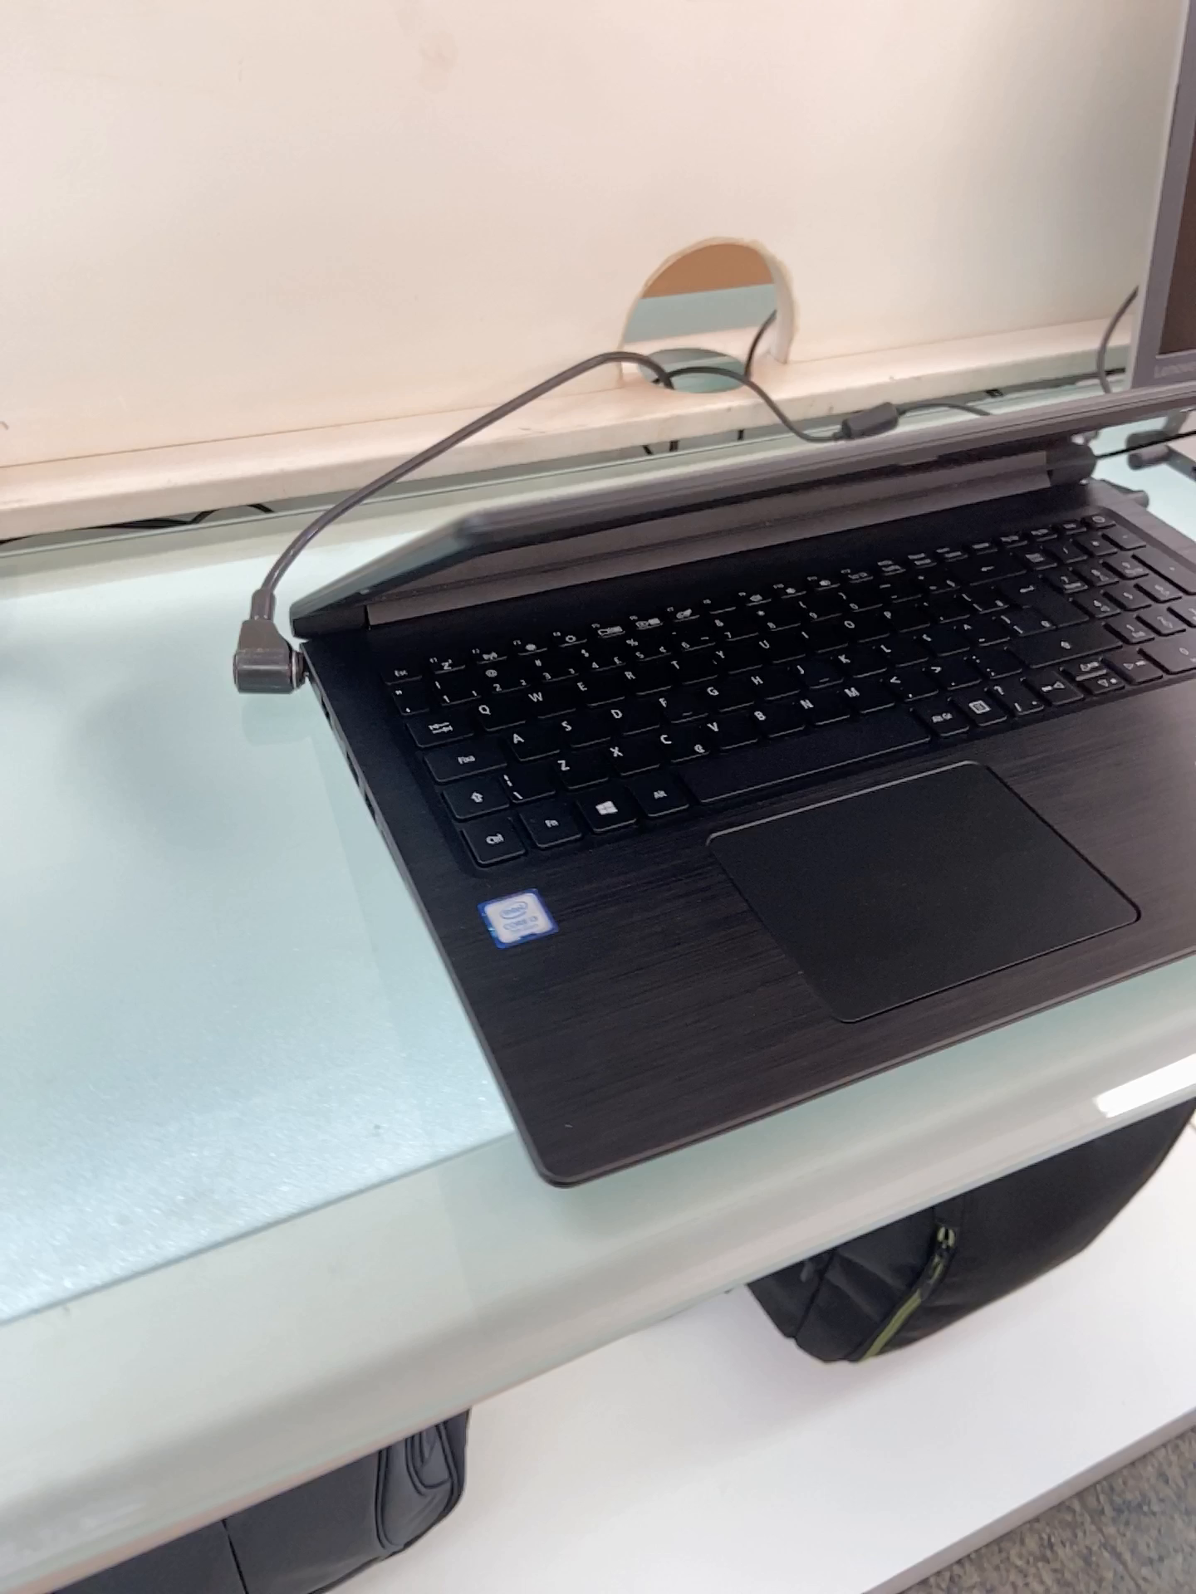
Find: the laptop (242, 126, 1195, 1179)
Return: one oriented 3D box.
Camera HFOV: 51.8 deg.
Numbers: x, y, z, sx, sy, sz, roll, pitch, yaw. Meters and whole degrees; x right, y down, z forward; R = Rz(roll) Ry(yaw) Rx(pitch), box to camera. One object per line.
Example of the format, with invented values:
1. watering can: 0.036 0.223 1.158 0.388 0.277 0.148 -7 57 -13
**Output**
1. laptop: 0.112 -0.085 0.374 0.368 0.142 0.233 -15 44 -20
